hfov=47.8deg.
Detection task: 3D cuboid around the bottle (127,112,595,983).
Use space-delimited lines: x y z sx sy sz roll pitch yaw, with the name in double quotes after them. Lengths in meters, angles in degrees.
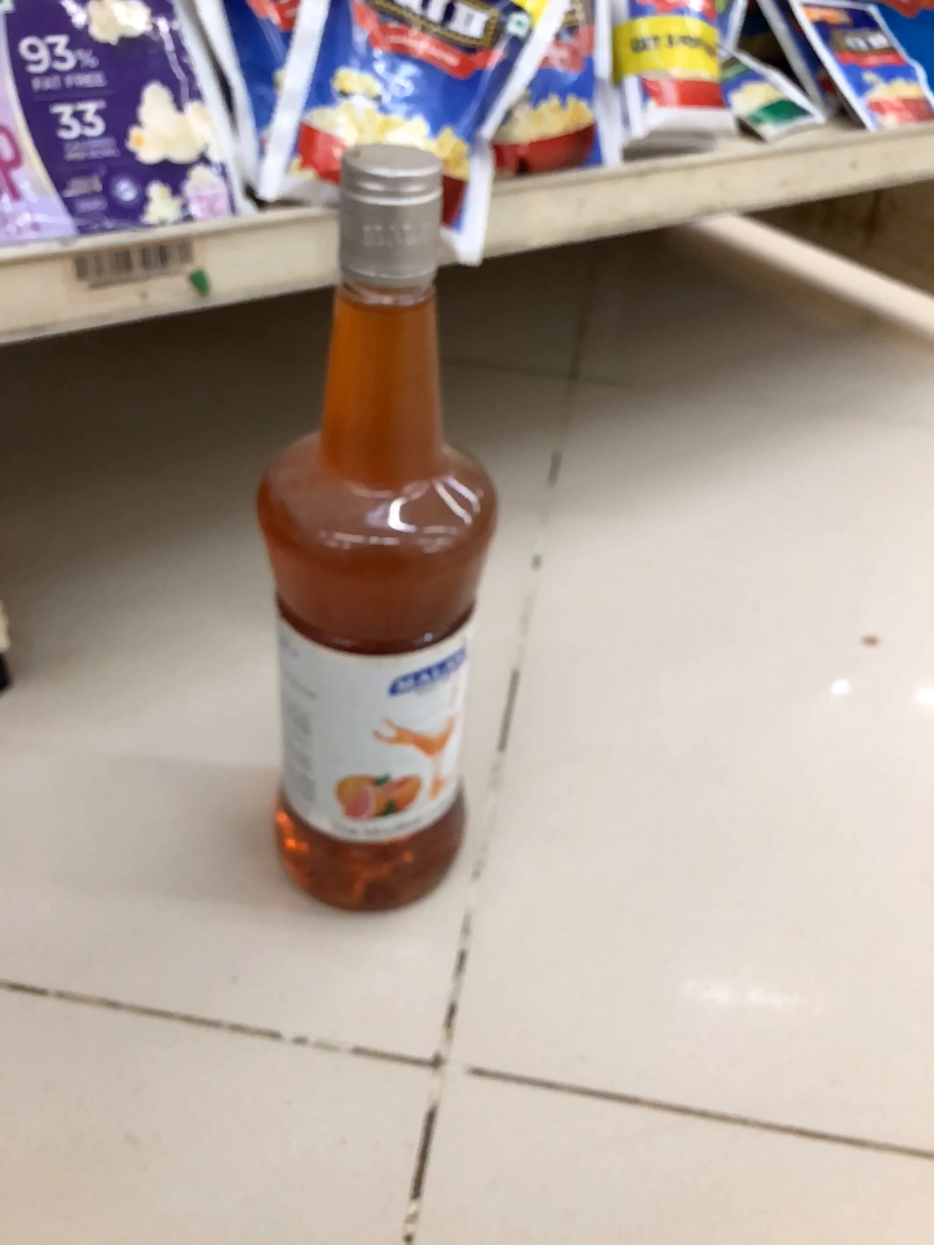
-0.037 -0.009 0.373 0.090 0.288 0.090 3 40 -2 "bottle"
